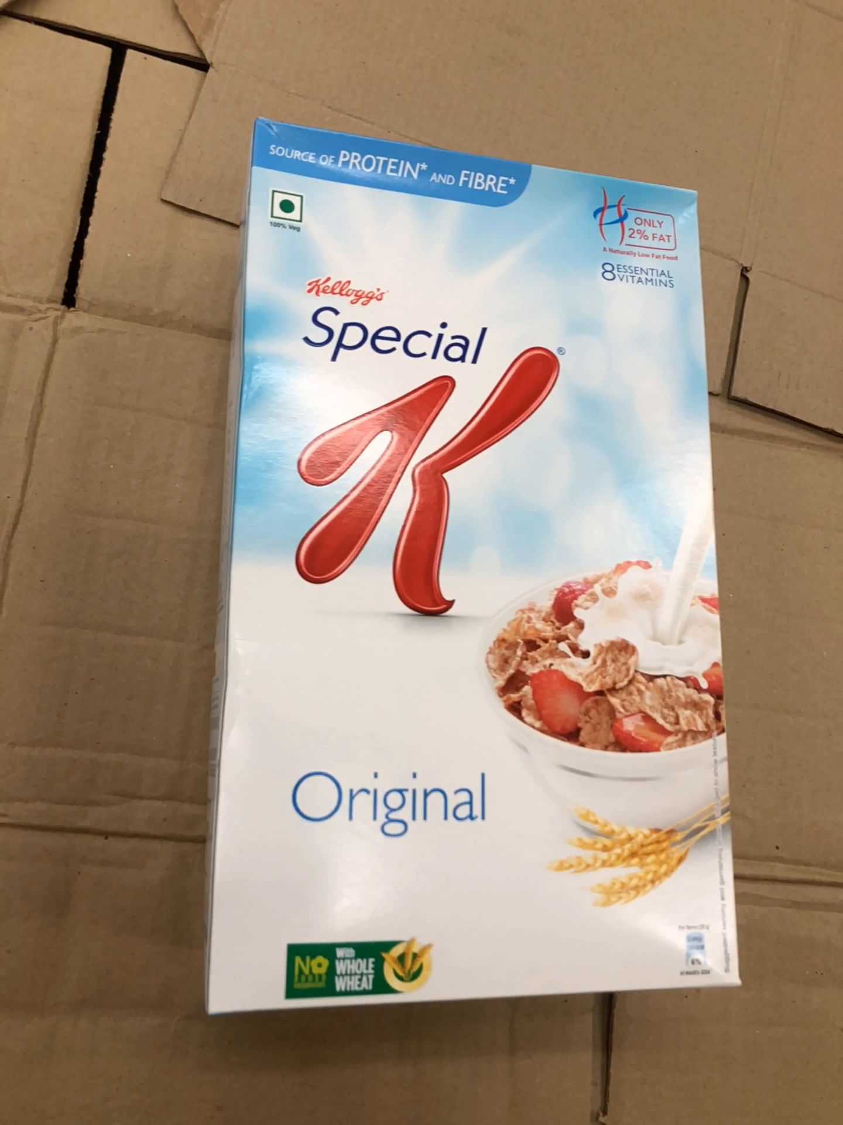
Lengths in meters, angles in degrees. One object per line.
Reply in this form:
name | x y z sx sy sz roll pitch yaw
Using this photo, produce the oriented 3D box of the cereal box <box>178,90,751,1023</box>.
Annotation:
cereal box | 0.010 -0.002 0.360 0.180 0.100 0.300 4 78 -13
